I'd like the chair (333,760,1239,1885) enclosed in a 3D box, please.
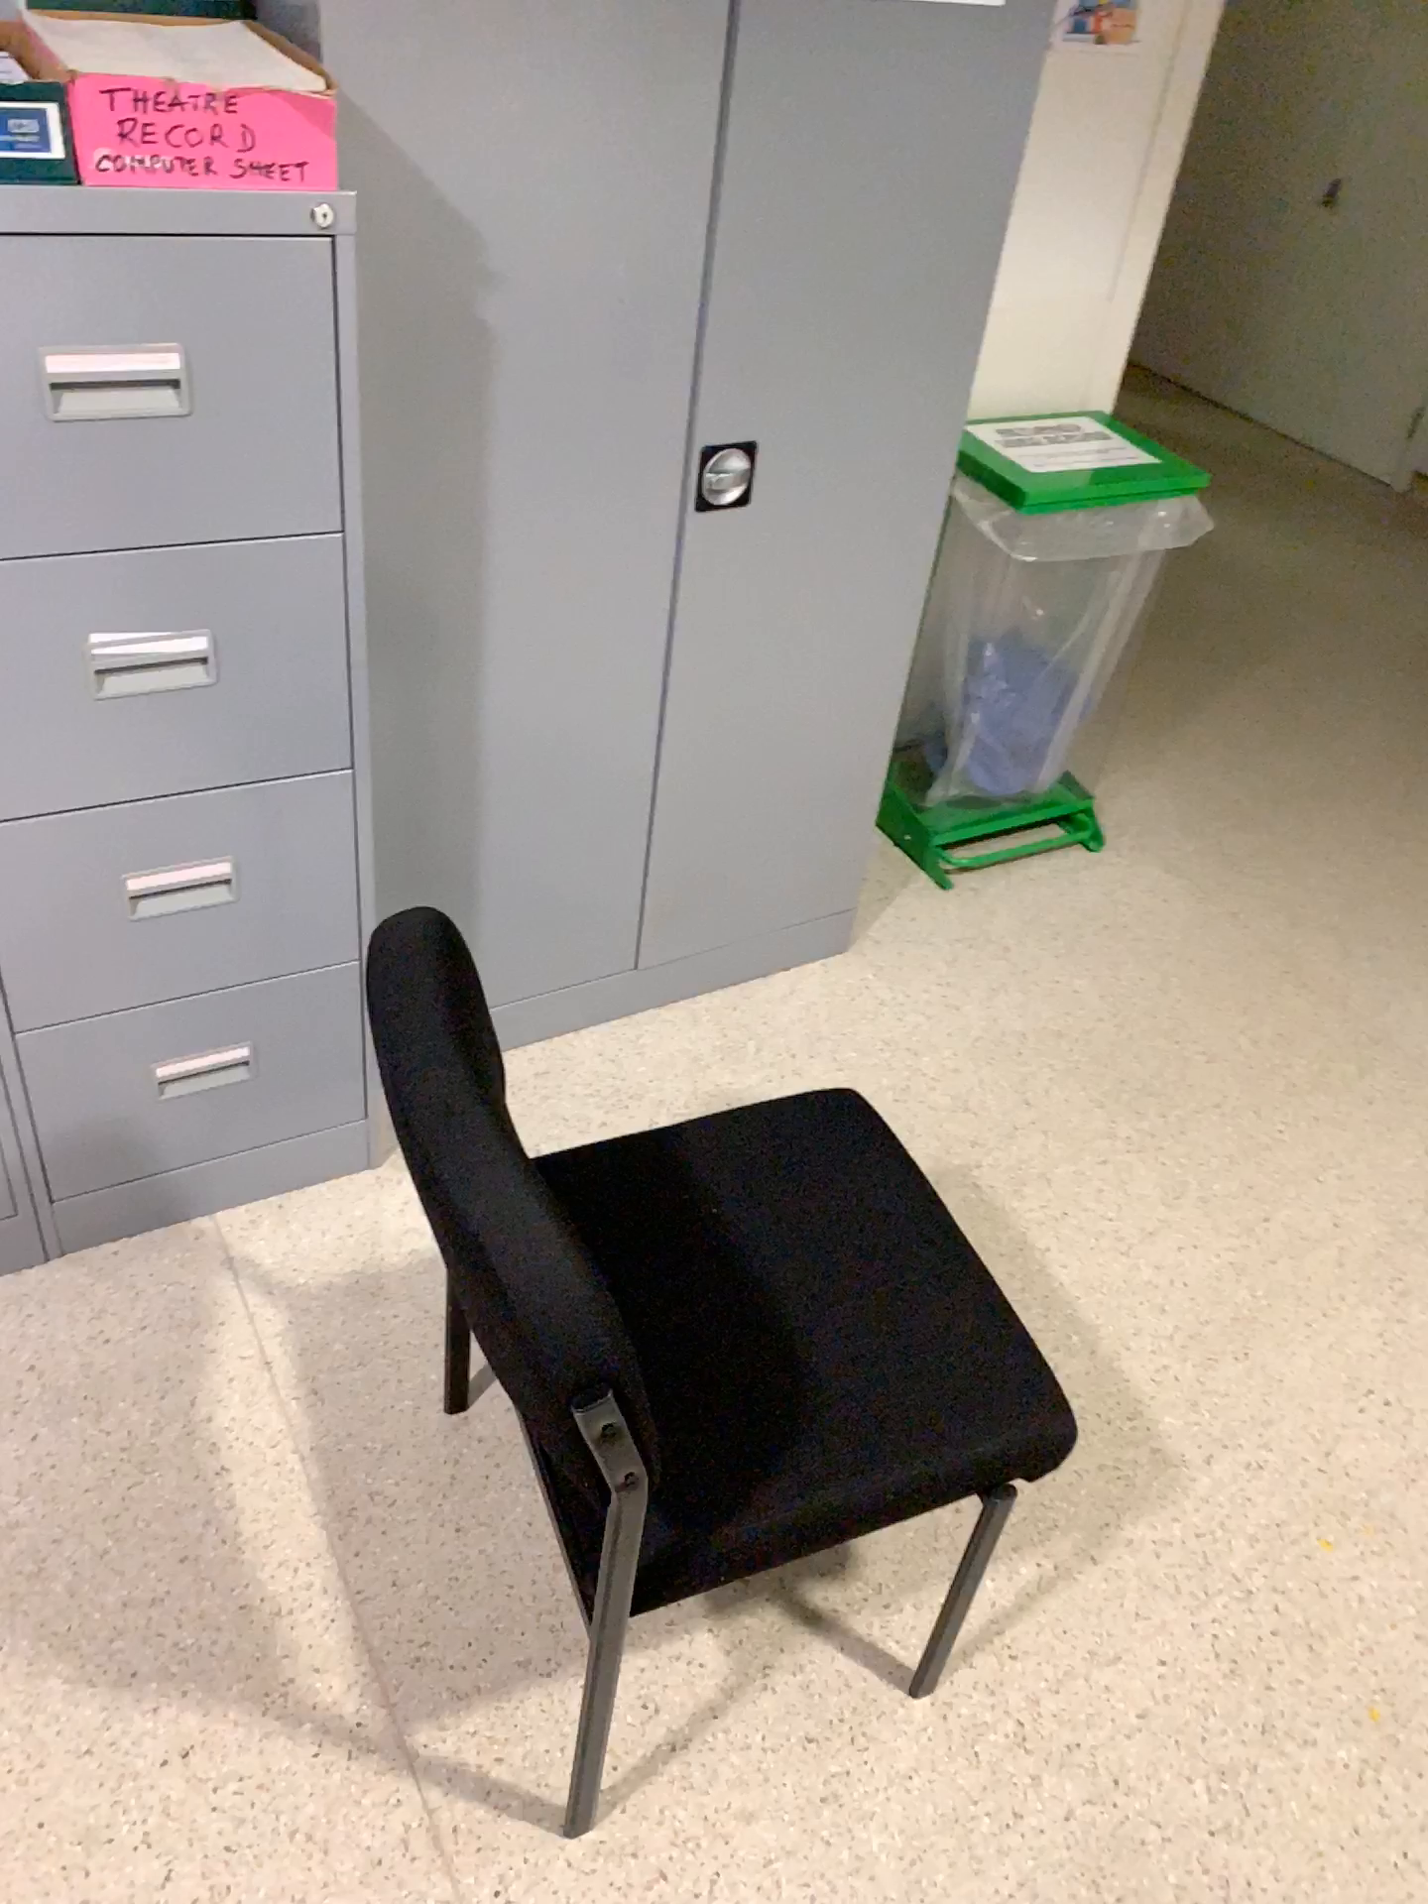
[{"bbox_3d":[-0.023,0.353,1.497,0.581,0.832,0.635,-9,41,-21],"label":"chair"}]
